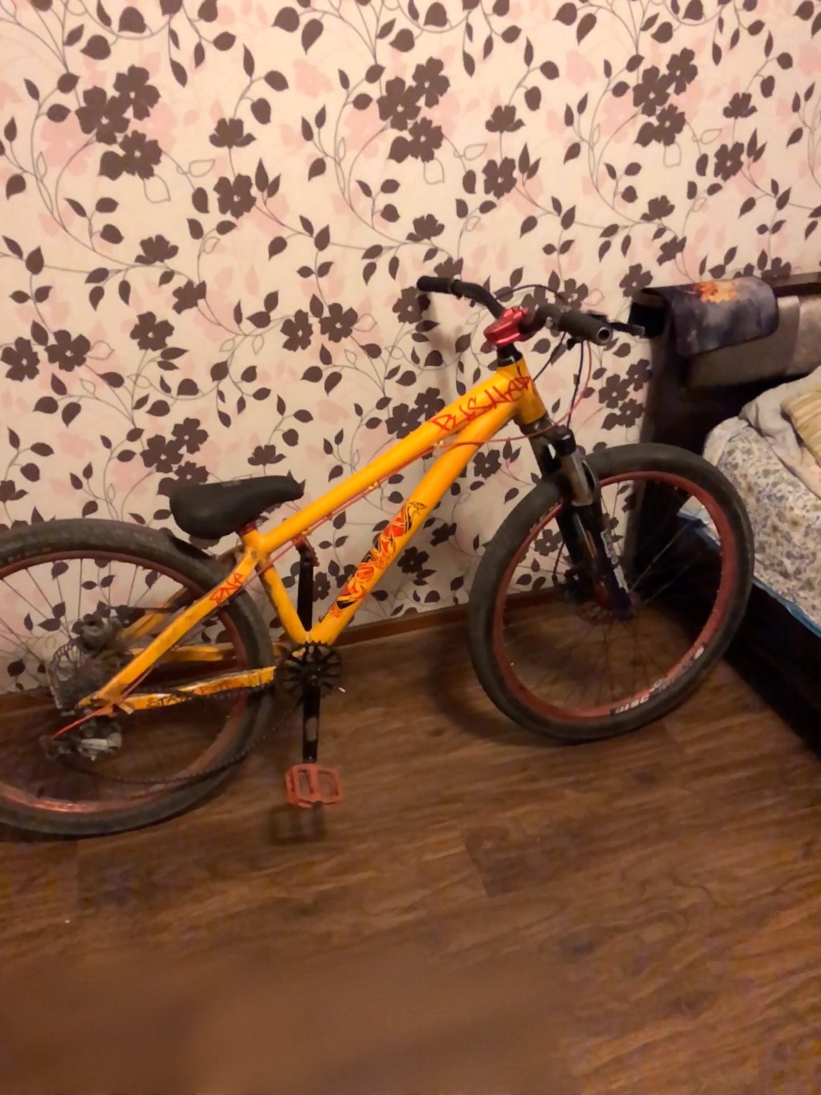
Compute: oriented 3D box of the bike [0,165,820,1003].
[{"bbox_3d":[-0.100,-0.003,1.644,1.676,1.005,0.664,-11,33,-11],"label":"bike"}]
